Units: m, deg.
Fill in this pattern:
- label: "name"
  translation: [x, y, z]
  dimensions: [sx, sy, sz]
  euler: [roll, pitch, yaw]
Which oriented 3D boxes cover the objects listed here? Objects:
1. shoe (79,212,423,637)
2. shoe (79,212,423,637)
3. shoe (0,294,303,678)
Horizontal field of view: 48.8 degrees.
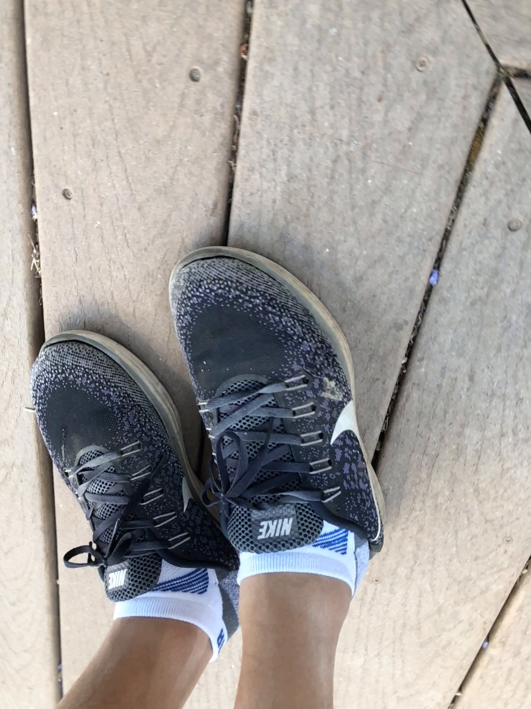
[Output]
- label: "shoe"
  translation: [0.008, 0.058, 0.416]
  dimensions: [0.120, 0.100, 0.270]
  euler: [-18, 111, 22]
- label: "shoe"
  translation: [0.008, 0.058, 0.416]
  dimensions: [0.120, 0.100, 0.270]
  euler: [-18, 111, 22]
- label: "shoe"
  translation: [-0.096, 0.118, 0.483]
  dimensions: [0.120, 0.090, 0.300]
  euler: [-21, 110, 23]
